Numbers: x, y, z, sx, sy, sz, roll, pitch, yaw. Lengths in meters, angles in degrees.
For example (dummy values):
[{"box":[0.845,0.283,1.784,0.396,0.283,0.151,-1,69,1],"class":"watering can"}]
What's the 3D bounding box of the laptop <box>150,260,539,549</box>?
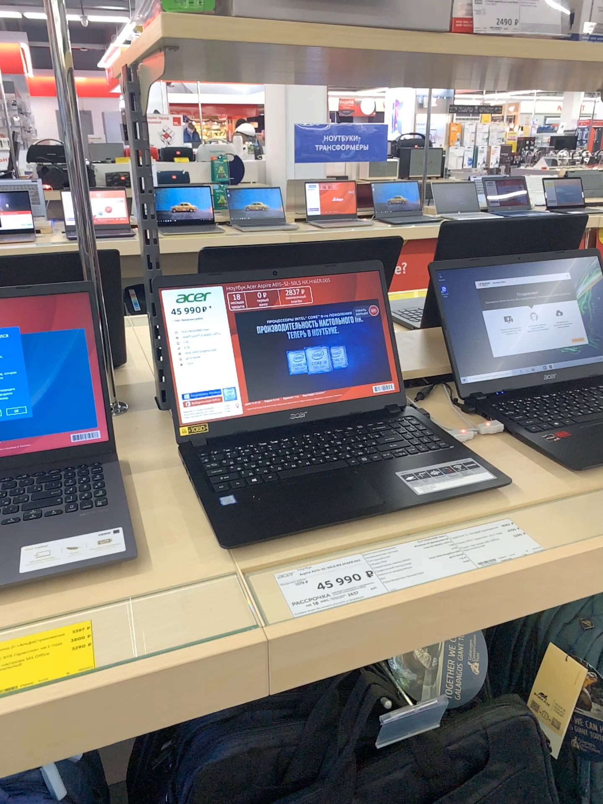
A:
[{"box":[0.024,-0.038,0.816,0.368,0.208,0.366,-9,24,-19],"class":"laptop"}]
